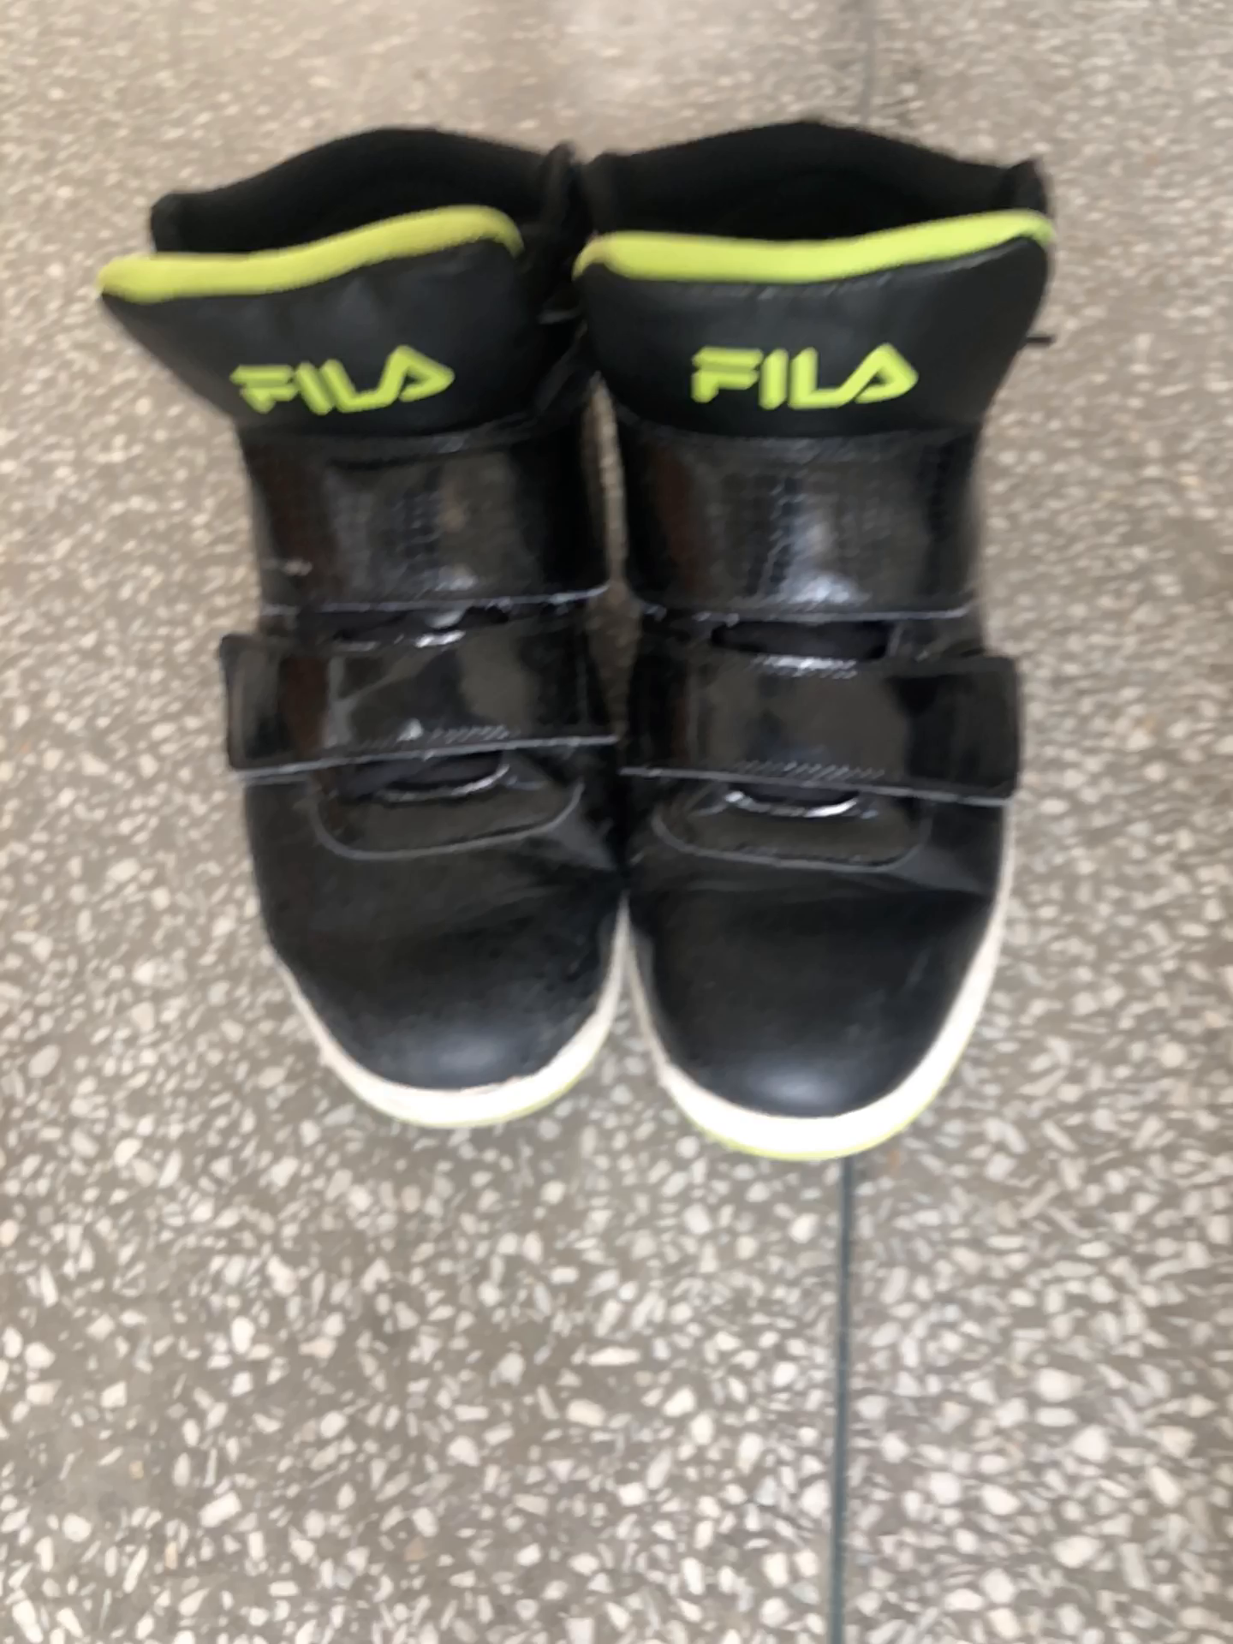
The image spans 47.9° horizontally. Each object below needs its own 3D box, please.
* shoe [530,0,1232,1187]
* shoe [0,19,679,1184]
[{"bbox_3d":[0.054,-0.055,0.343,0.120,0.147,0.250,0,60,4],"label":"shoe"},{"bbox_3d":[-0.058,-0.062,0.377,0.120,0.147,0.270,-6,60,0],"label":"shoe"}]
